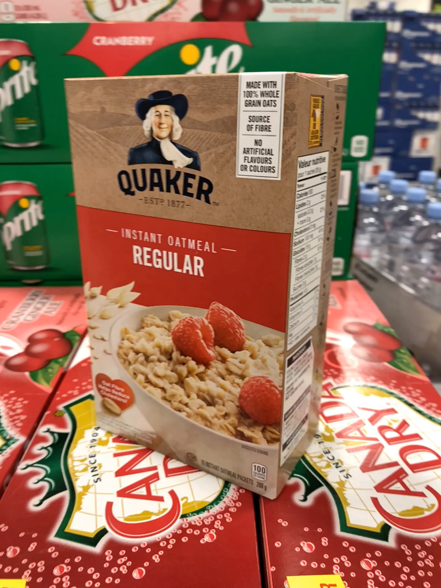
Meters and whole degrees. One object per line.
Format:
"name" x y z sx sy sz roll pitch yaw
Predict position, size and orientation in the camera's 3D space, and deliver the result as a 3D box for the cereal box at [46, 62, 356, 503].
"cereal box" -0.011 -0.012 0.270 0.130 0.199 0.070 12 23 27
